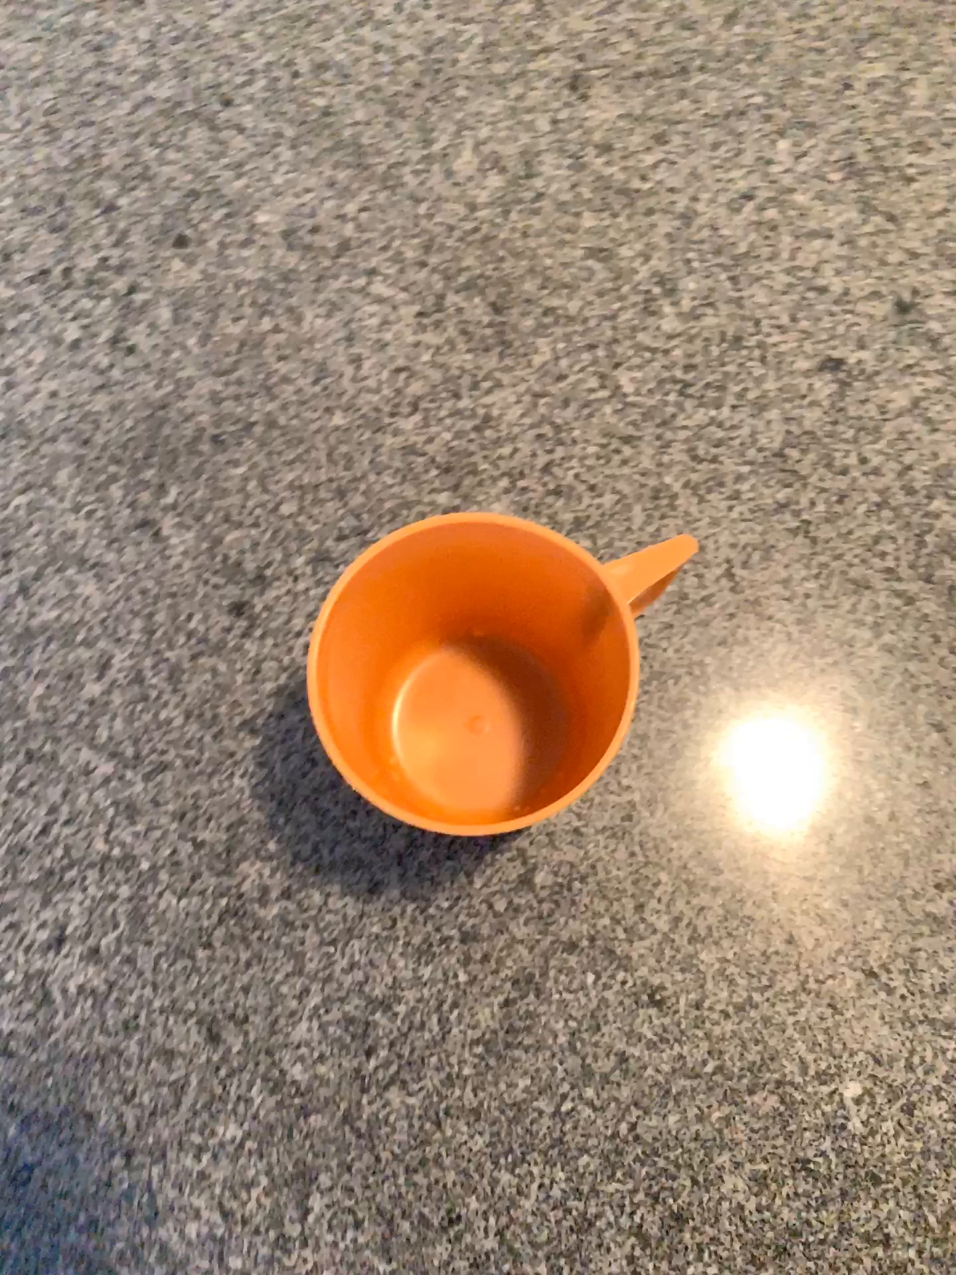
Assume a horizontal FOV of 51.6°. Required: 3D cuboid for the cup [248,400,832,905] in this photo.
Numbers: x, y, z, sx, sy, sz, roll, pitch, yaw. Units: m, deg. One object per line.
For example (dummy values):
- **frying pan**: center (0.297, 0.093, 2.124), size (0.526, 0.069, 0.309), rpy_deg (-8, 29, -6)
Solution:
- **cup**: center (0.013, 0.011, 0.270), size (0.110, 0.090, 0.080), rpy_deg (-24, 75, -6)
